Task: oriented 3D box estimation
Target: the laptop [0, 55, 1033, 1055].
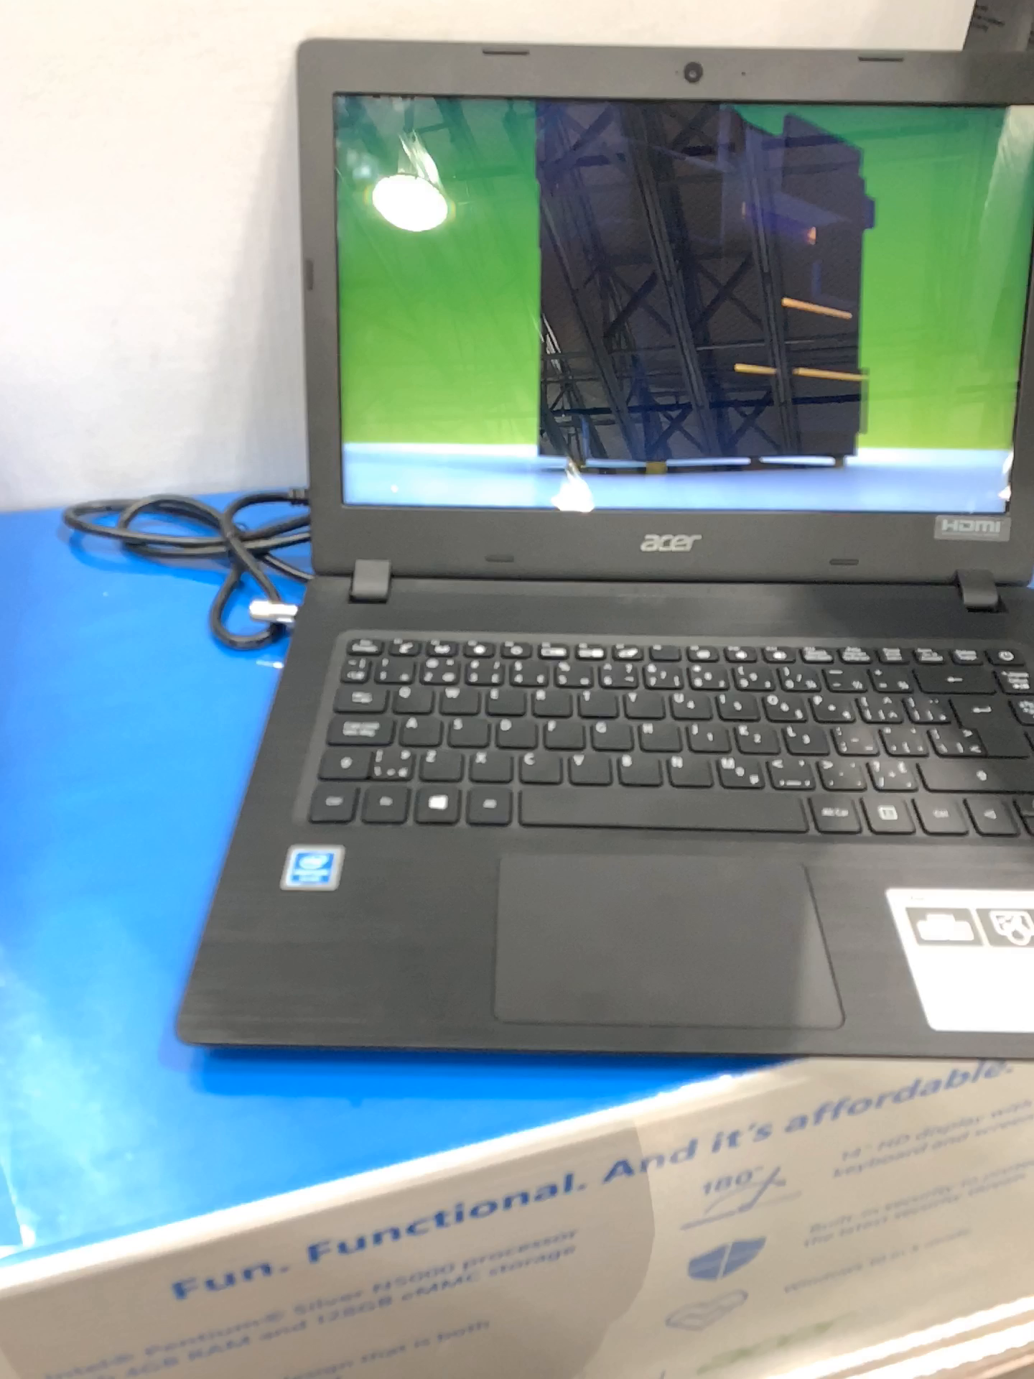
[{"bbox_3d":[0.069,-0.078,0.357,0.318,0.186,0.329,1,40,0],"label":"laptop"}]
